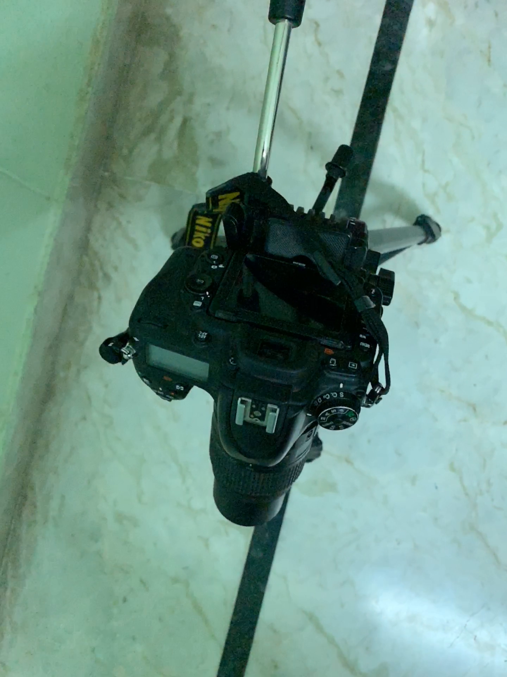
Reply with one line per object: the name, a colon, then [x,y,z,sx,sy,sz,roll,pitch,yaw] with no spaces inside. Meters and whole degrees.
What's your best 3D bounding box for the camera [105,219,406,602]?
camera: [-0.003,0.059,0.345,0.130,0.215,0.116,16,46,5]
